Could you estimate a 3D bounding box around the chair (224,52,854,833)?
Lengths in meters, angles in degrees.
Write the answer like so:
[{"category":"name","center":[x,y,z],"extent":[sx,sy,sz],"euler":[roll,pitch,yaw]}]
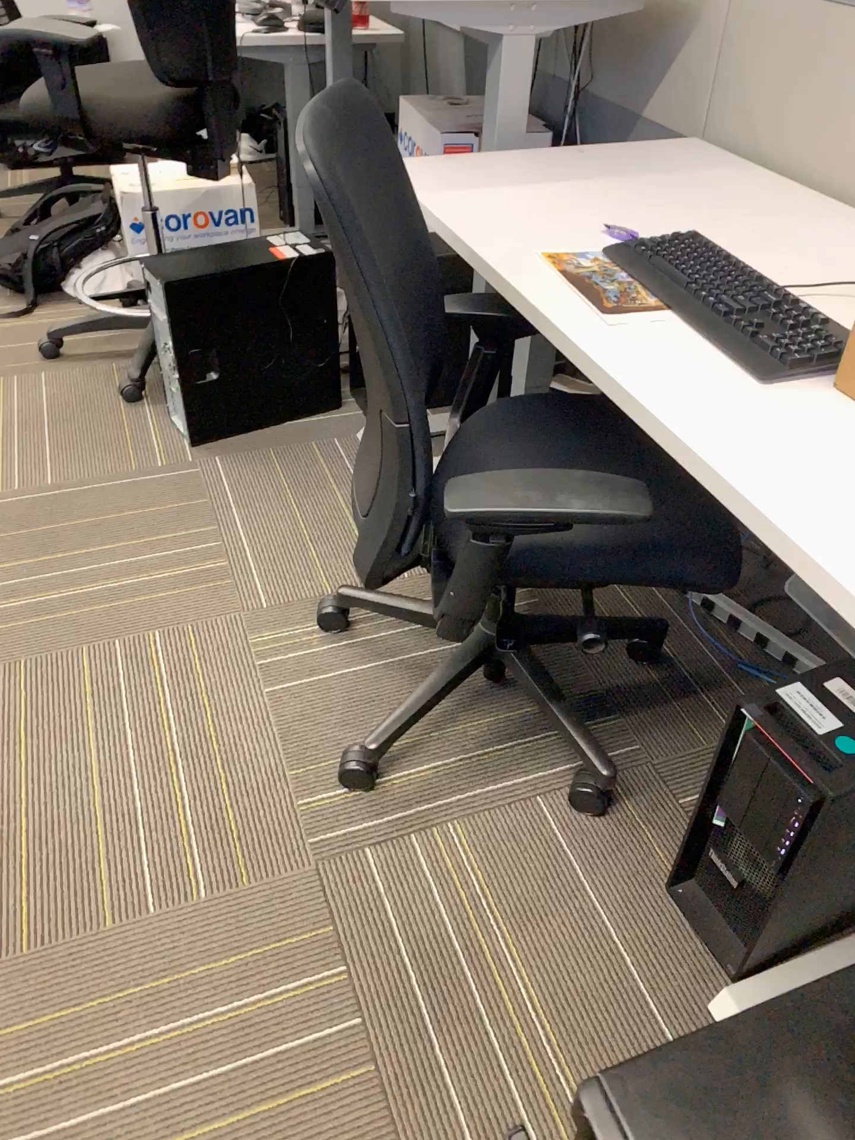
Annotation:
[{"category":"chair","center":[0.140,-0.200,1.355],"extent":[0.750,0.934,0.704],"euler":[-3,40,-7]}]
